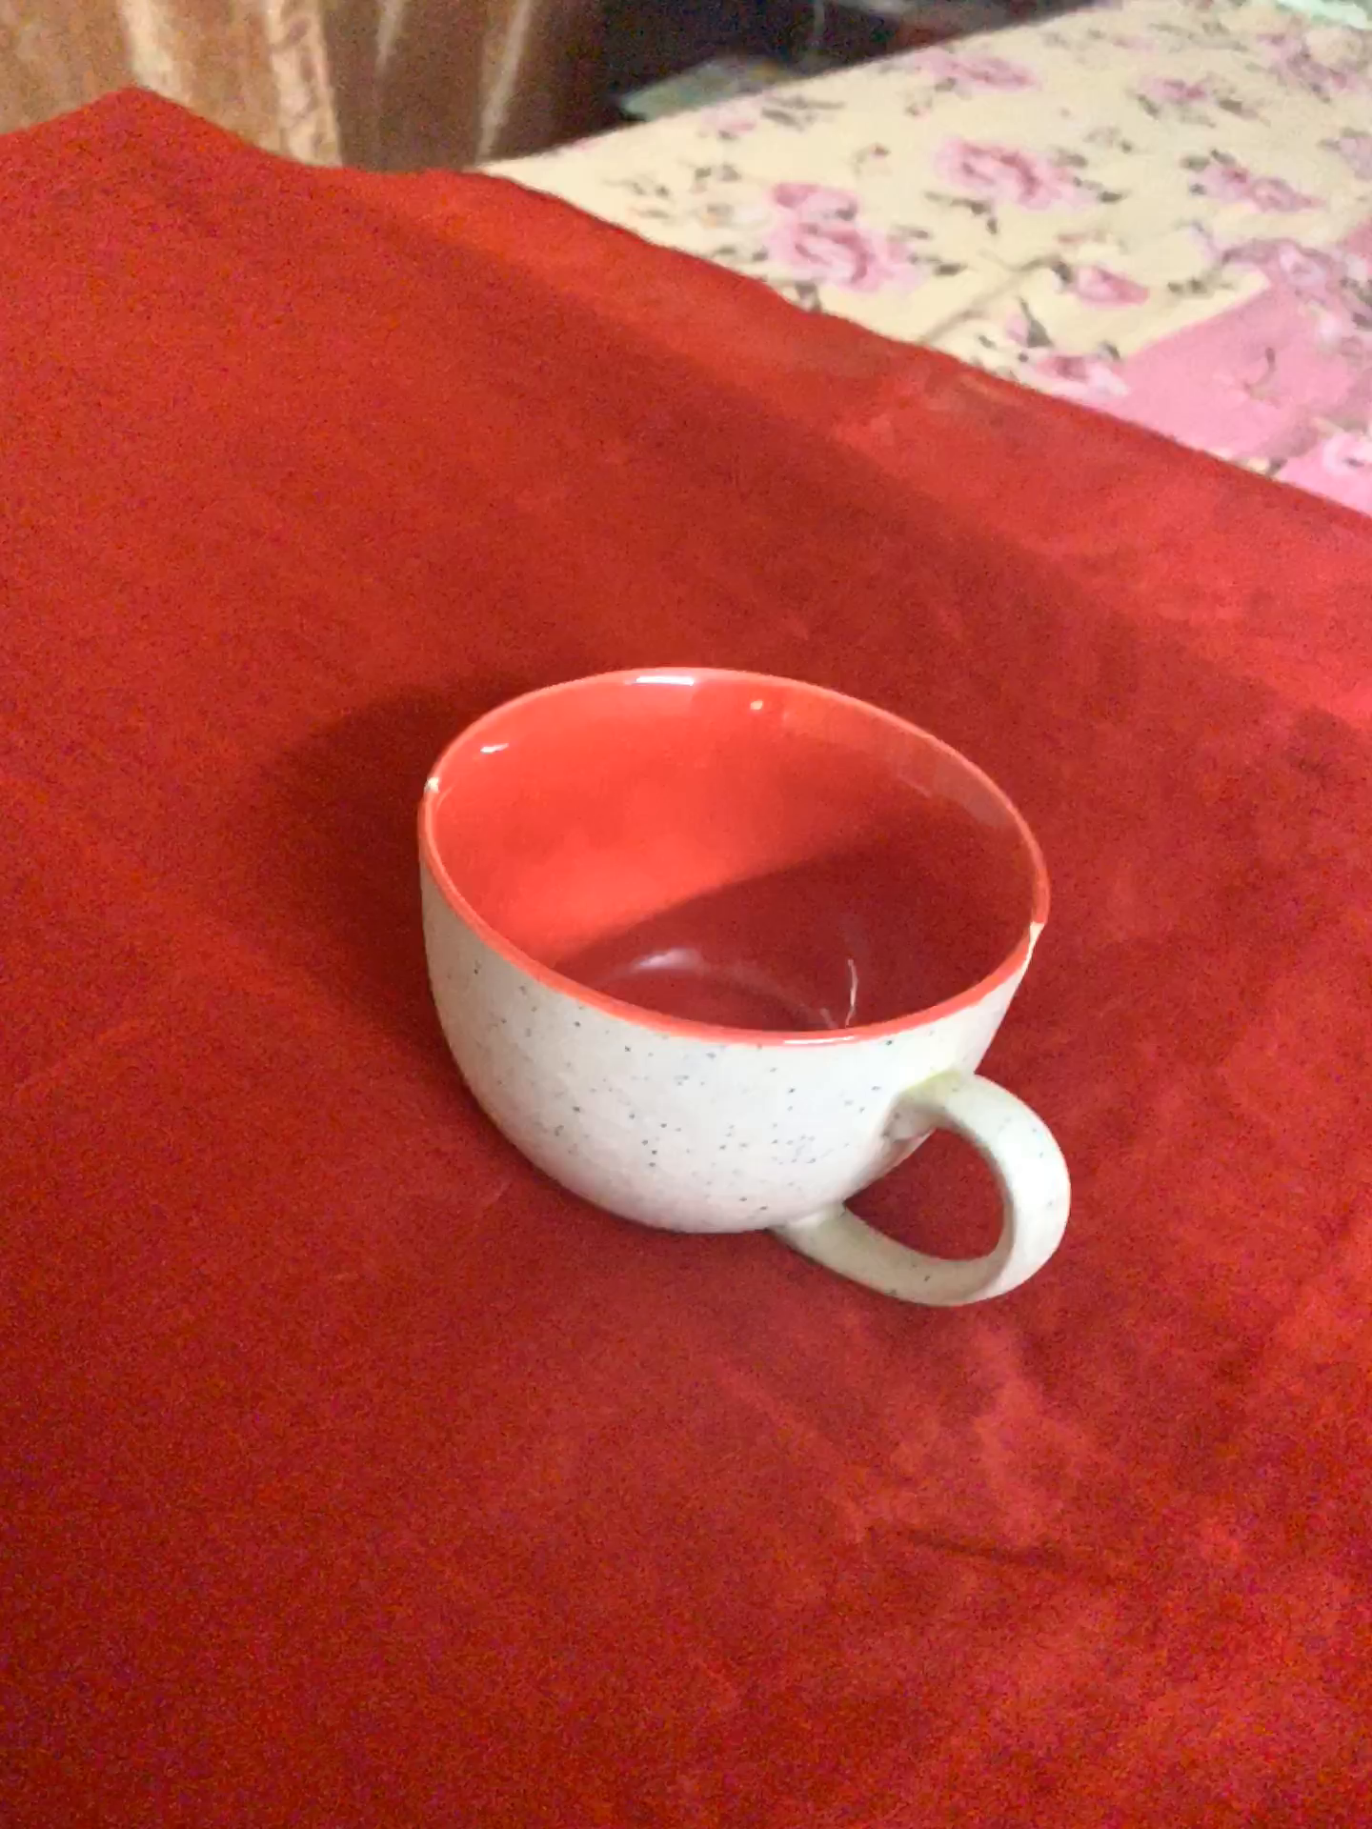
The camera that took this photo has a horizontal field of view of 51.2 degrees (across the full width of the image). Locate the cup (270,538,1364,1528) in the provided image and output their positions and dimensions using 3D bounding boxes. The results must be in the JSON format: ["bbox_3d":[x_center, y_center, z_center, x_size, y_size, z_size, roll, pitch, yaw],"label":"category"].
[{"bbox_3d":[0.016,0.005,0.268,0.130,0.069,0.141,5,42,-5],"label":"cup"}]
